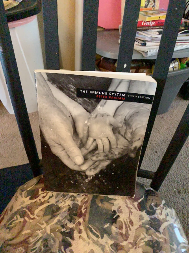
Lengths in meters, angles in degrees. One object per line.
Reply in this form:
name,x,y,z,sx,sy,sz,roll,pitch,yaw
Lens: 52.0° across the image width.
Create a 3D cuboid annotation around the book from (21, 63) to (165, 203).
book,-0.007,0.025,0.373,0.220,0.269,0.040,4,27,4
